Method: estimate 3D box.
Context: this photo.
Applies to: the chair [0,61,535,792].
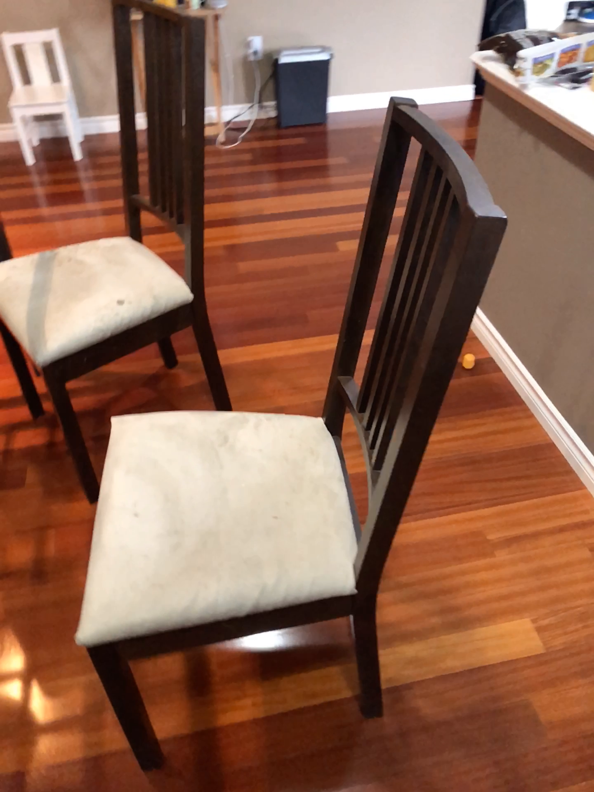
[{"bbox_3d":[-0.084,0.129,1.012,0.510,1.053,0.493,-5,41,-3],"label":"chair"}]
